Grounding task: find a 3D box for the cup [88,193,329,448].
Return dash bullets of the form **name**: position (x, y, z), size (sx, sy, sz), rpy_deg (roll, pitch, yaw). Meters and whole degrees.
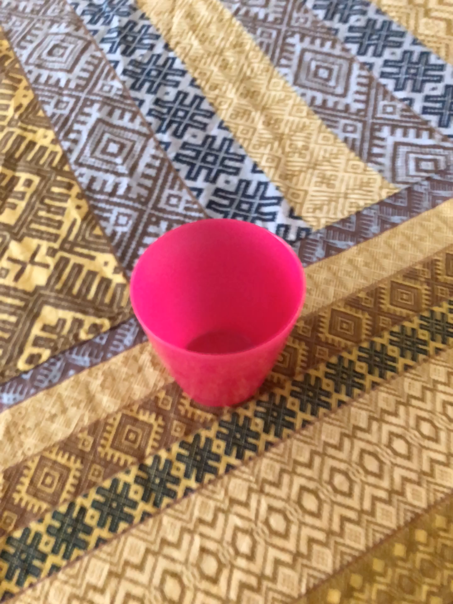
- **cup**: position (-0.006, 0.009, 0.249), size (0.077, 0.067, 0.079), rpy_deg (1, 57, -1)
